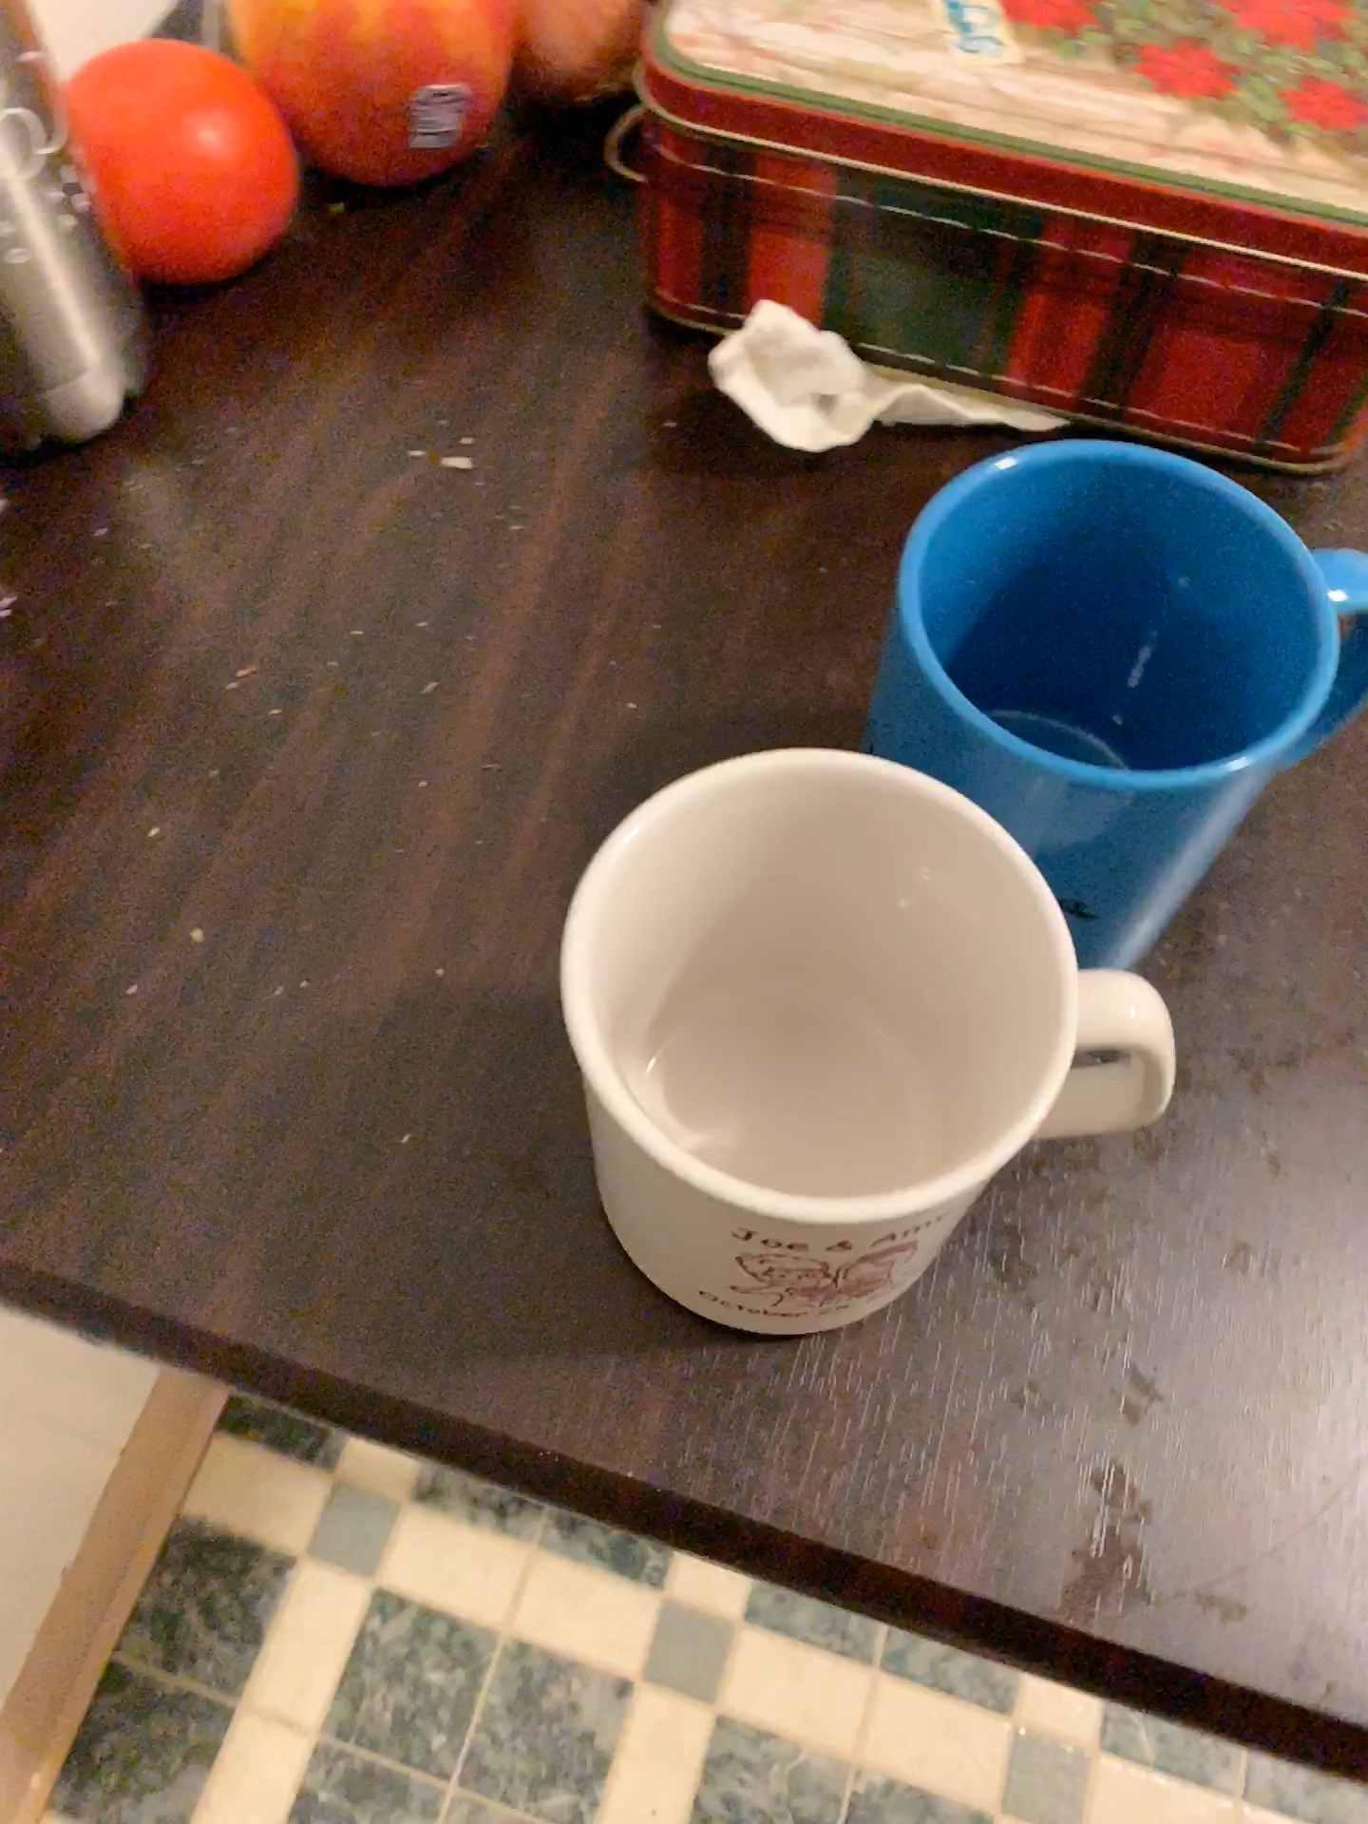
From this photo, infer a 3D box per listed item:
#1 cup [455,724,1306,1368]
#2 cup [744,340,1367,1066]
[{"bbox_3d":[0.027,0.029,0.260,0.120,0.090,0.090,0,62,-1],"label":"cup"},{"bbox_3d":[0.095,-0.042,0.308,0.140,0.100,0.090,-13,63,-8],"label":"cup"}]
